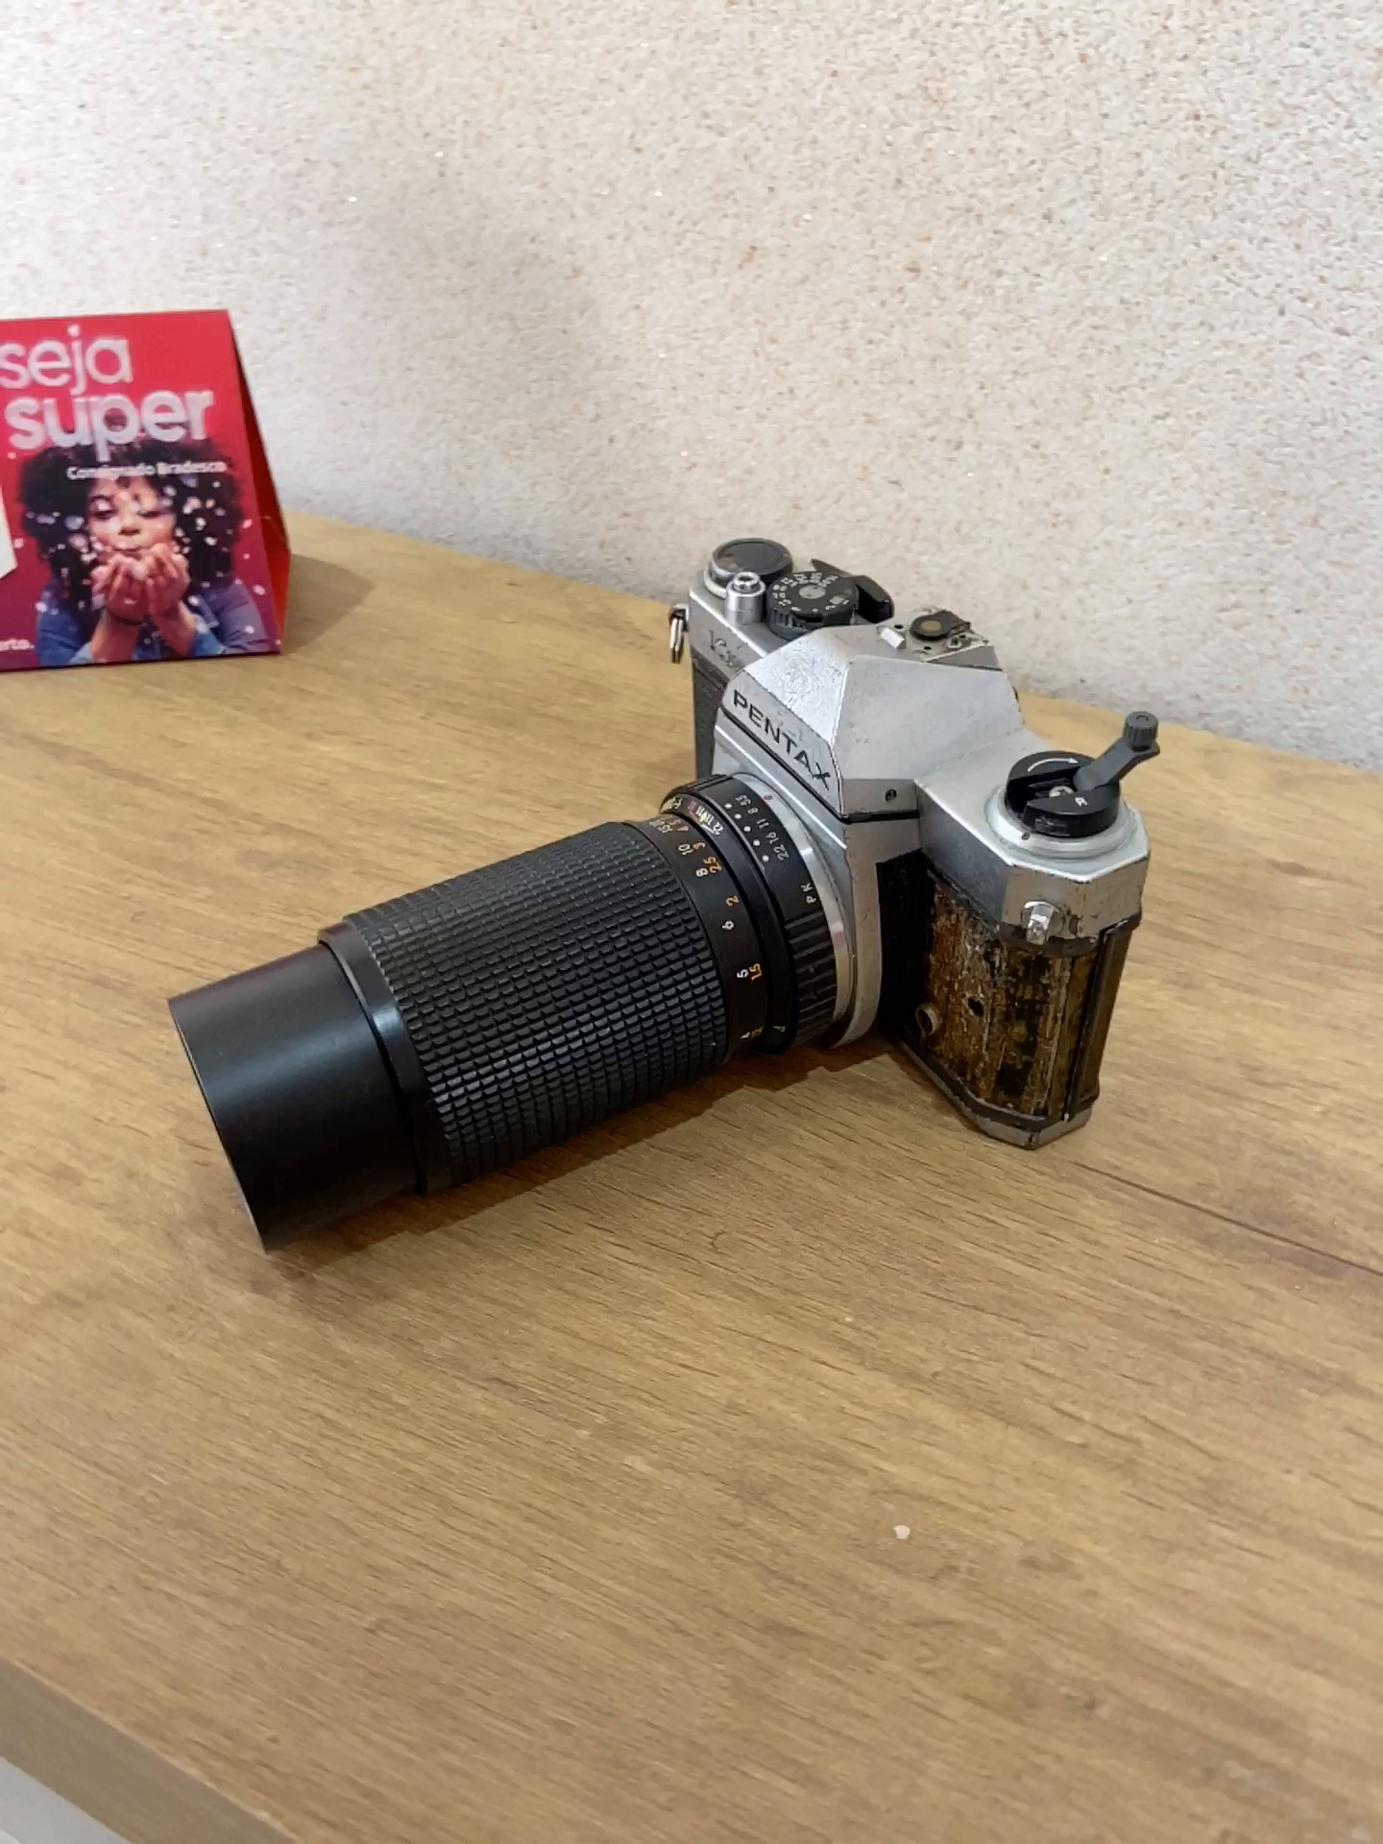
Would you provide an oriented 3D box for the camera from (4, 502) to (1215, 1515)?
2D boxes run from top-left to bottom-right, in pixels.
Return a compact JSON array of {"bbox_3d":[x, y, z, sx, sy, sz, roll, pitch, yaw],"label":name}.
[{"bbox_3d":[-0.021,-0.004,0.296,0.180,0.079,0.151,-21,43,-23],"label":"camera"}]
